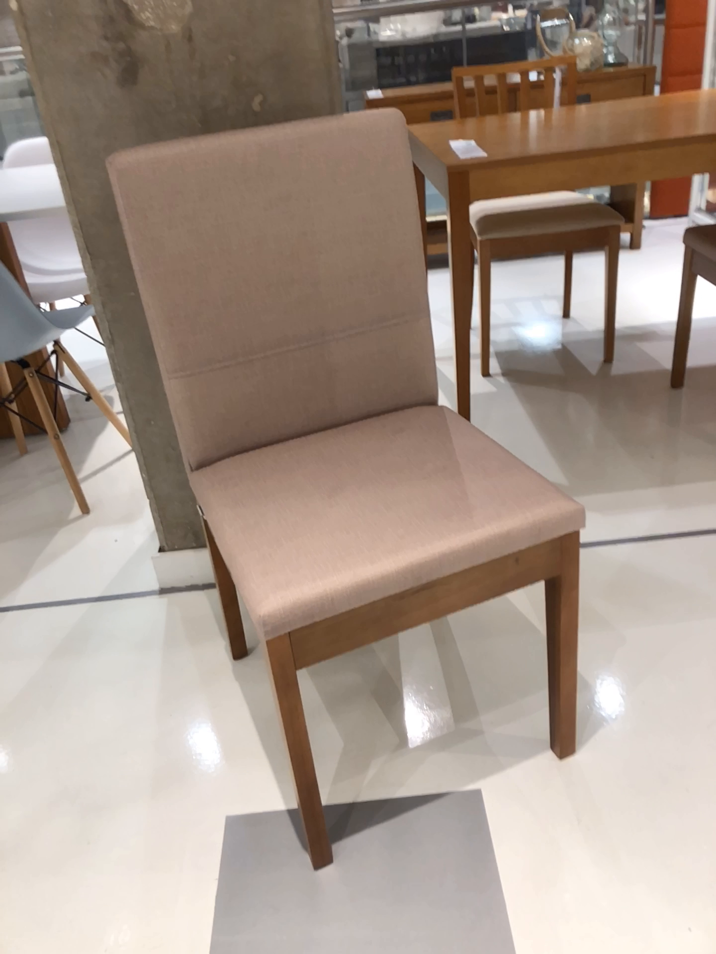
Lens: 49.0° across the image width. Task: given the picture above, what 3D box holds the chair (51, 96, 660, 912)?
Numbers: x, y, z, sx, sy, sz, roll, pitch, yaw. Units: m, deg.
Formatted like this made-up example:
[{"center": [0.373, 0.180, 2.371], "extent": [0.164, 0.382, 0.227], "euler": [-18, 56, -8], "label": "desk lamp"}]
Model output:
[{"center": [-0.011, 0.002, 1.154], "extent": [0.561, 0.933, 0.543], "euler": [-16, 31, -16], "label": "chair"}]
